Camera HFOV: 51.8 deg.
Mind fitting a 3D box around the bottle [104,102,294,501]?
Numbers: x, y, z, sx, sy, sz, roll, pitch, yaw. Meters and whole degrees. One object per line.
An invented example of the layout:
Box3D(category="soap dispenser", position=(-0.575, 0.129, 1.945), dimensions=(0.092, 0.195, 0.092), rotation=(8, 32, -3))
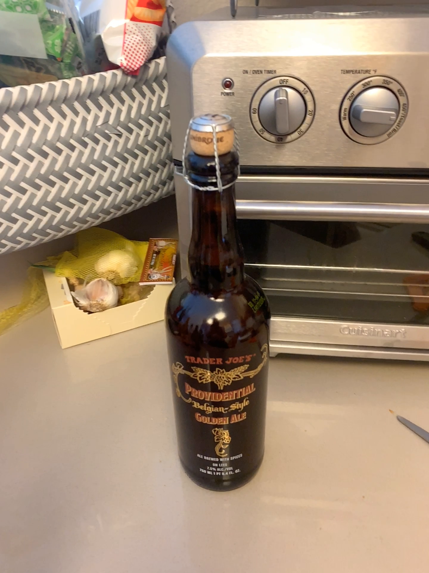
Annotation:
Box3D(category="bottle", position=(-0.004, 0.033, 0.324), dimensions=(0.090, 0.298, 0.080), rotation=(-1, 33, 1))
